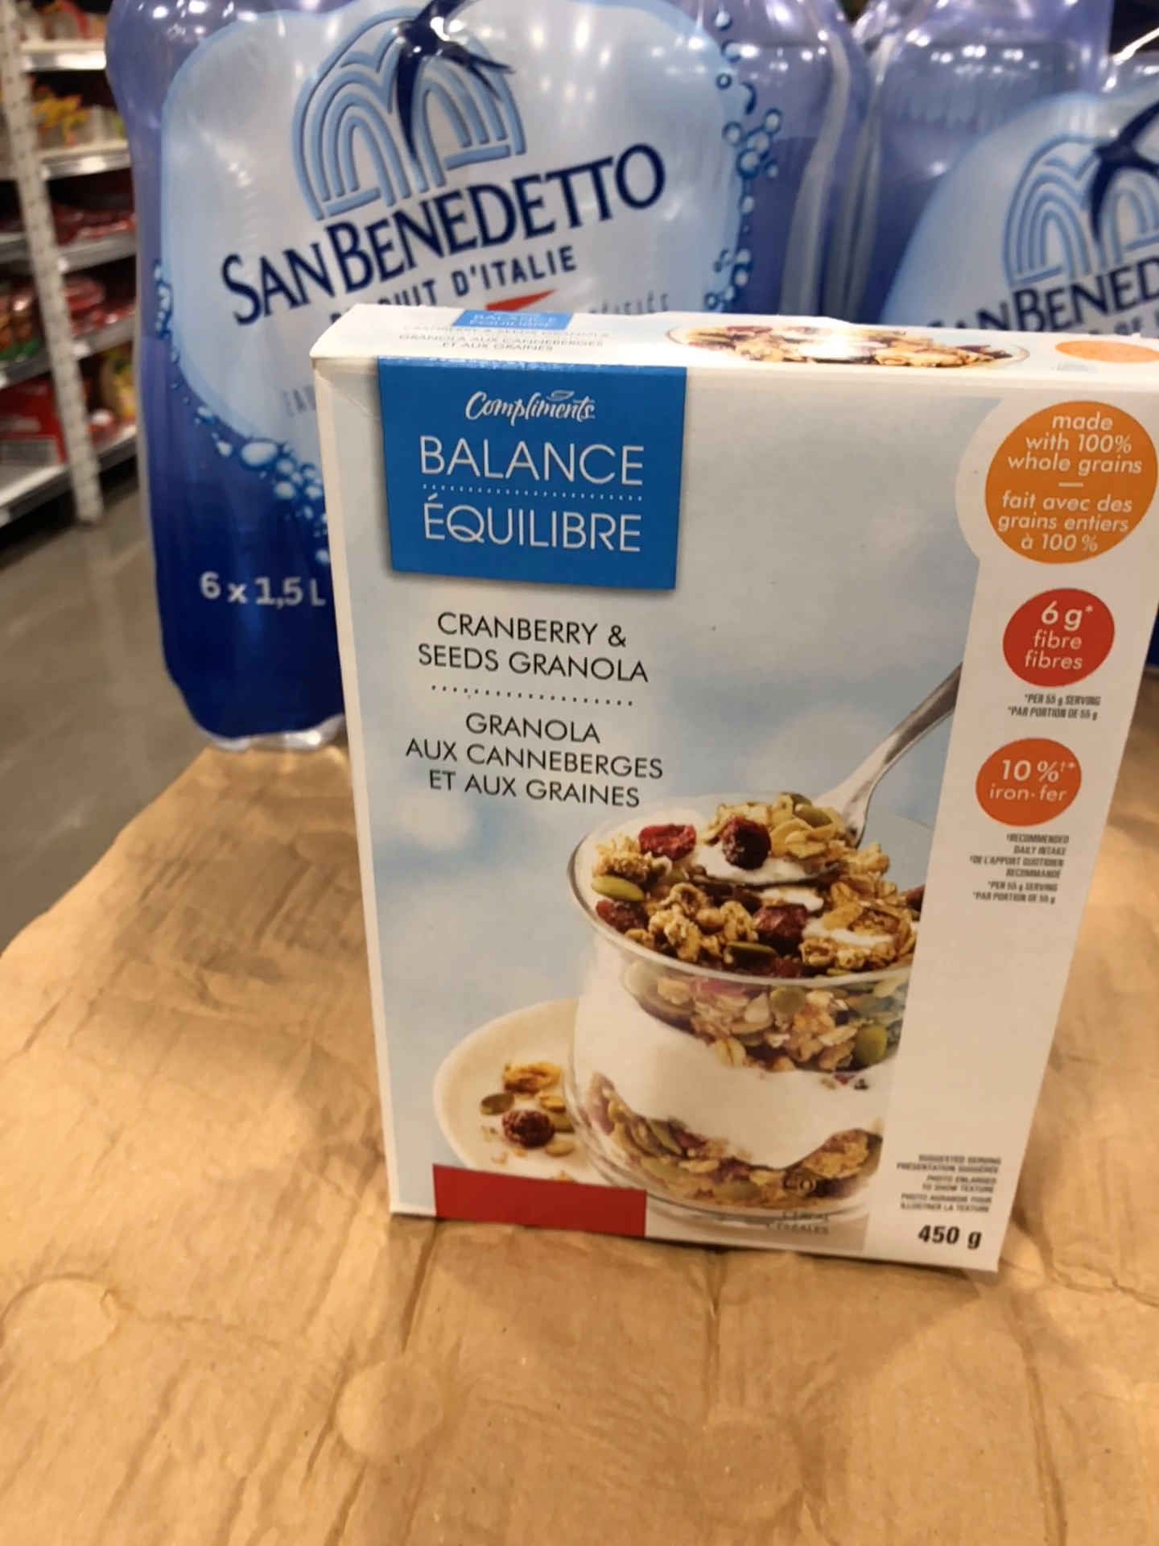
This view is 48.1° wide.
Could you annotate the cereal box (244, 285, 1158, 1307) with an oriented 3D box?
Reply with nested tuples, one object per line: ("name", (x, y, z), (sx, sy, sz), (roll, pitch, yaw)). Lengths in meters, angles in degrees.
("cereal box", (0.032, 0.014, 0.300), (0.180, 0.229, 0.050), (4, 29, 7))
